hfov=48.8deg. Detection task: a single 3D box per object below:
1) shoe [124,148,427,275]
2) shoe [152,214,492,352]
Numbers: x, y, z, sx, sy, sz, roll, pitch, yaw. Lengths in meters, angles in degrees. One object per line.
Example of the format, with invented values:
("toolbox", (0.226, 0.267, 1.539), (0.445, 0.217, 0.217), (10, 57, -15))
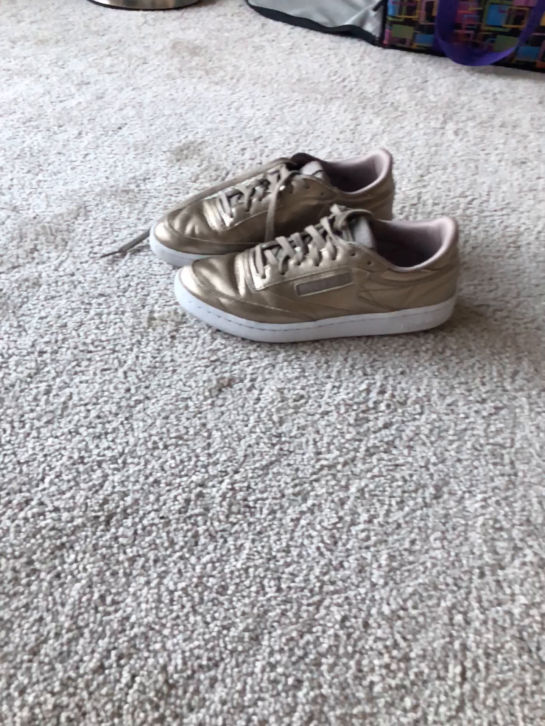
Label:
("shoe", (-0.003, -0.158, 0.610), (0.280, 0.070, 0.110), (-5, 45, -11))
("shoe", (0.037, -0.075, 0.549), (0.280, 0.070, 0.110), (-1, 45, -7))
